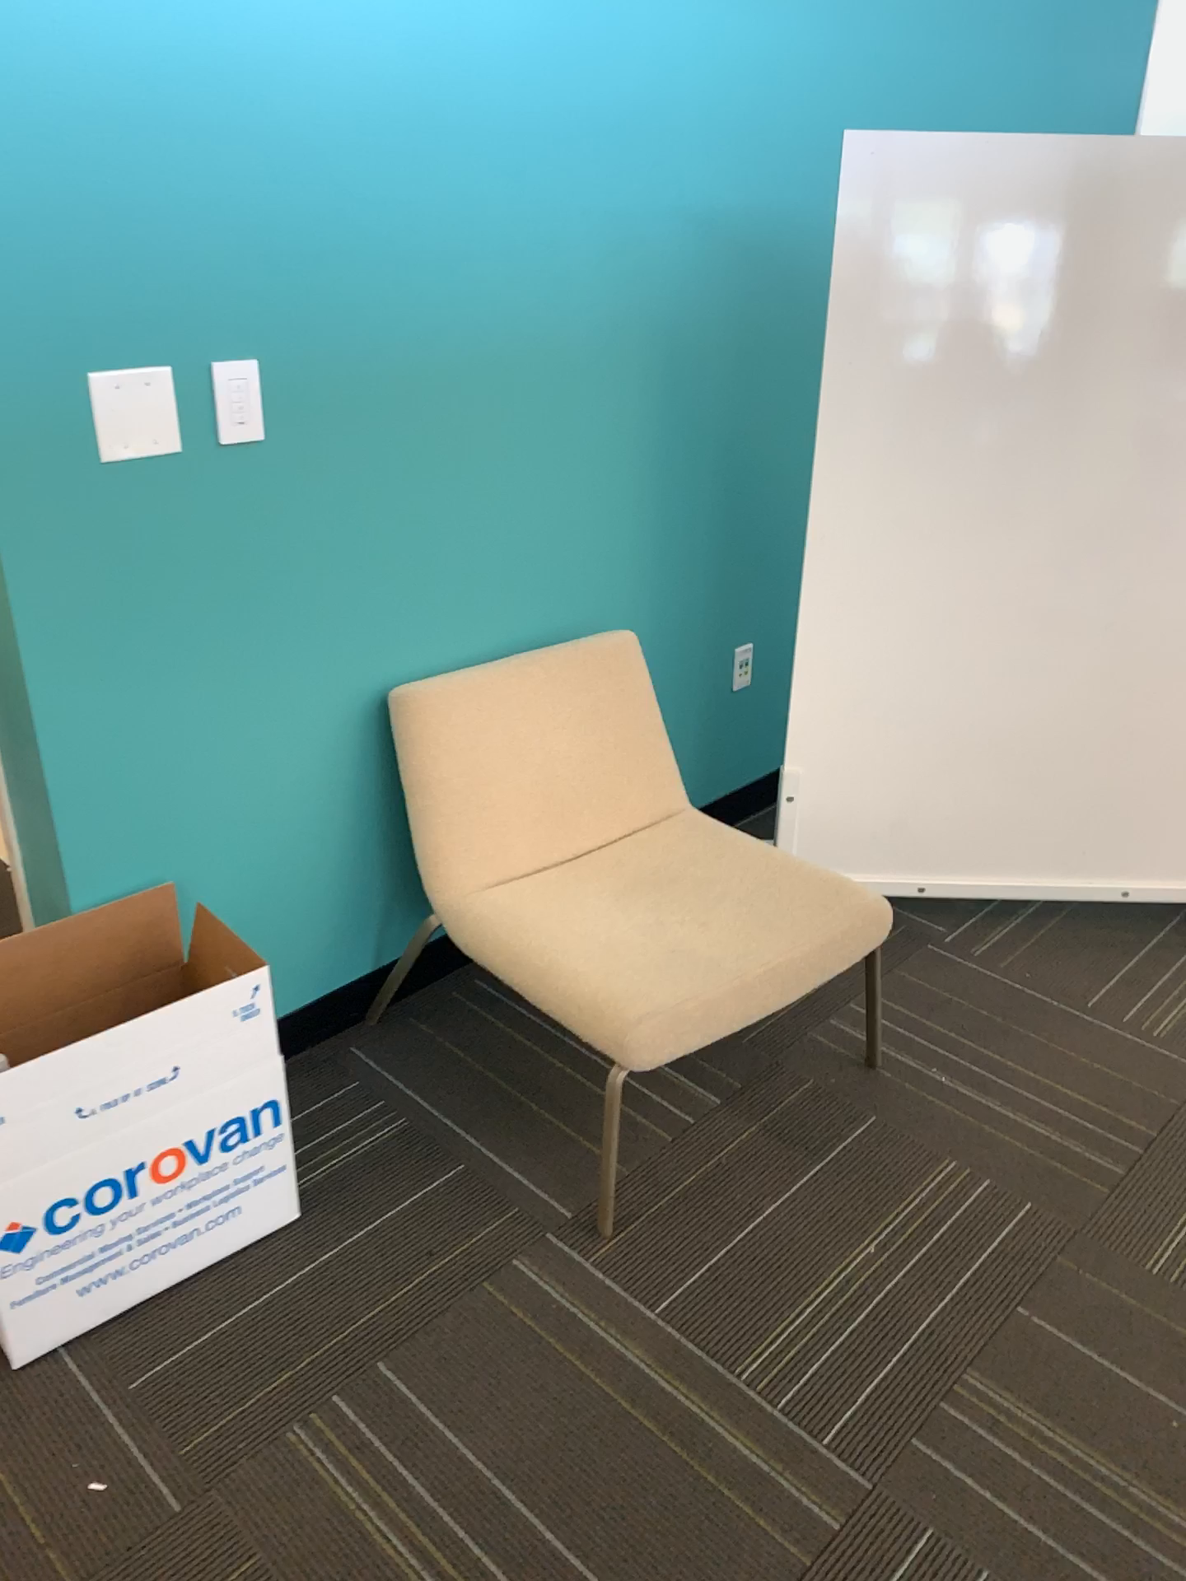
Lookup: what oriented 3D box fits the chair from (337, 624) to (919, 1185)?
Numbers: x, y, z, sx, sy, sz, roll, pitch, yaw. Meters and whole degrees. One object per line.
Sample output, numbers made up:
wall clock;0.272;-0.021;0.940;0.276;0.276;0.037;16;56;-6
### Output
chair;0.043;0.128;2.169;0.661;0.567;0.733;-20;32;-37
